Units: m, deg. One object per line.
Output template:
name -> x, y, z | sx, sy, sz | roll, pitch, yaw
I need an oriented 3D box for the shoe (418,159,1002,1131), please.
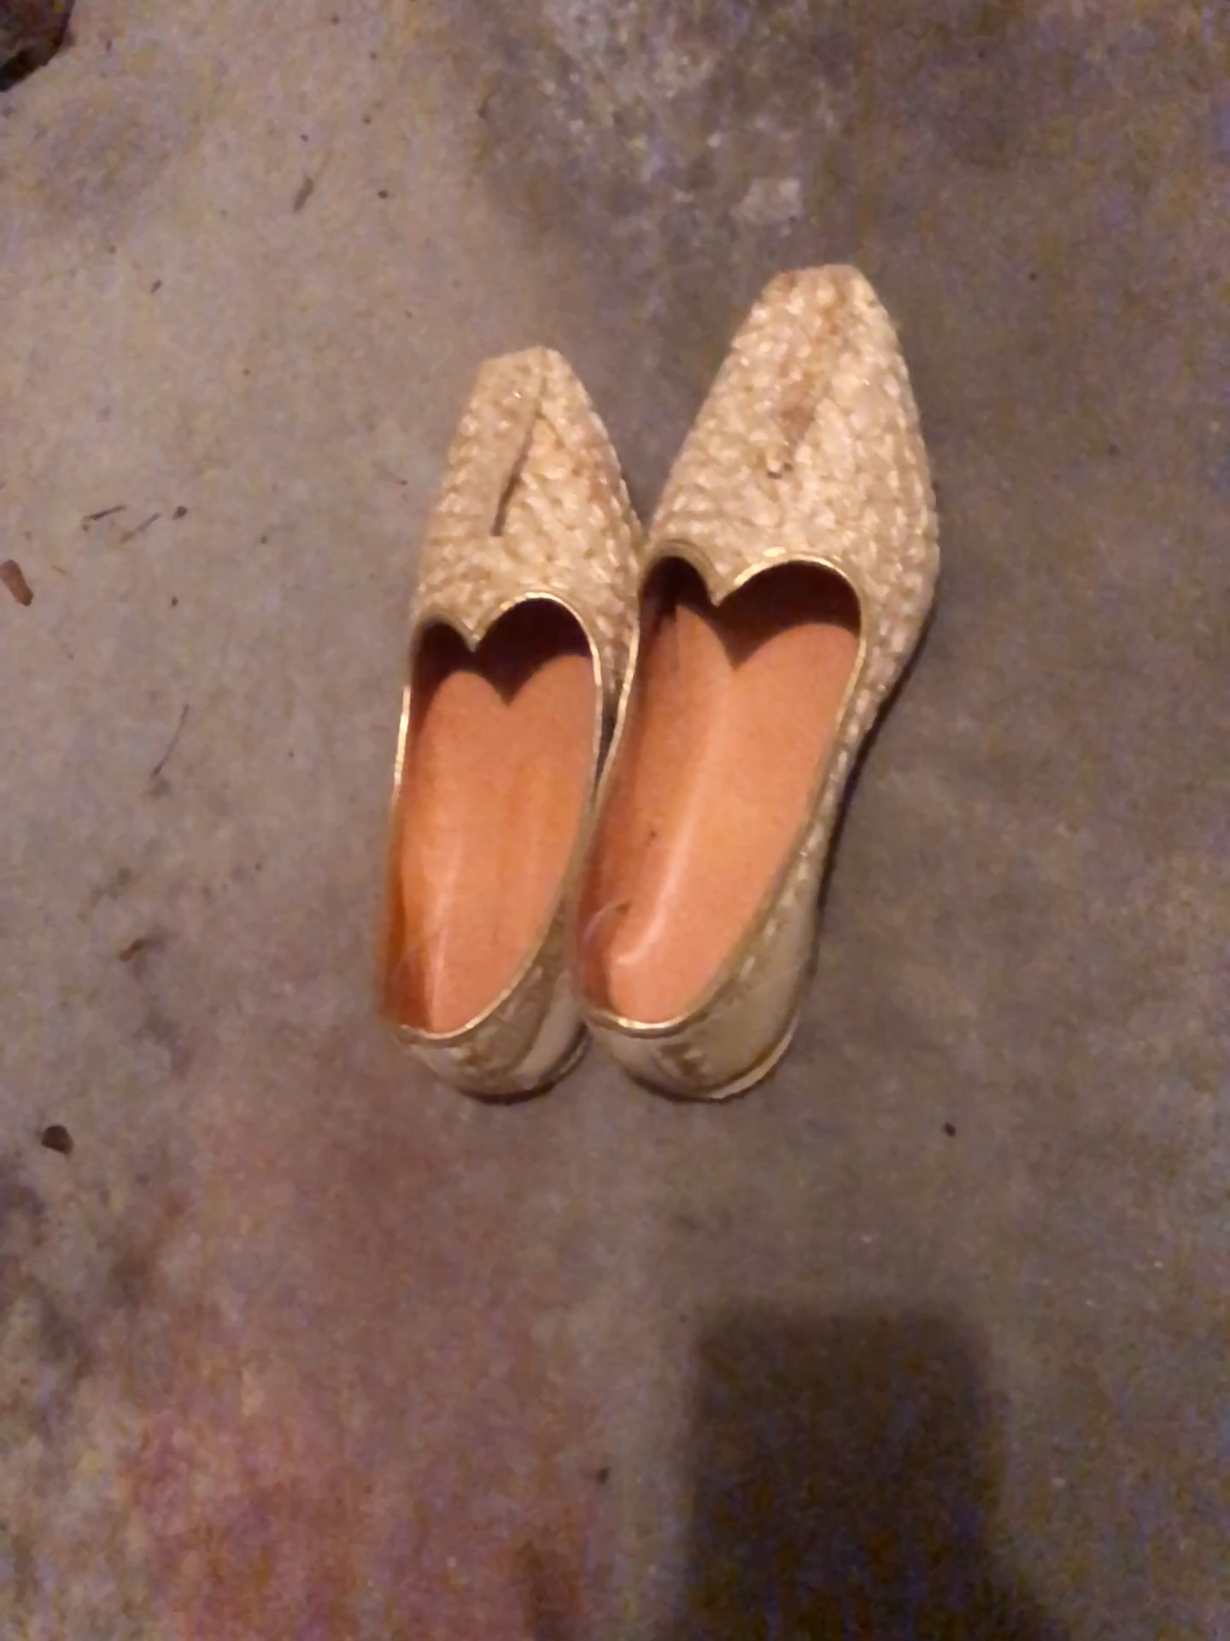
shoe -> 0.035, -0.054, 0.425 | 0.104, 0.073, 0.275 | 9, 80, 31

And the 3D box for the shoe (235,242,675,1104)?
shoe -> -0.049, -0.046, 0.471 | 0.104, 0.073, 0.275 | -4, 74, 28
